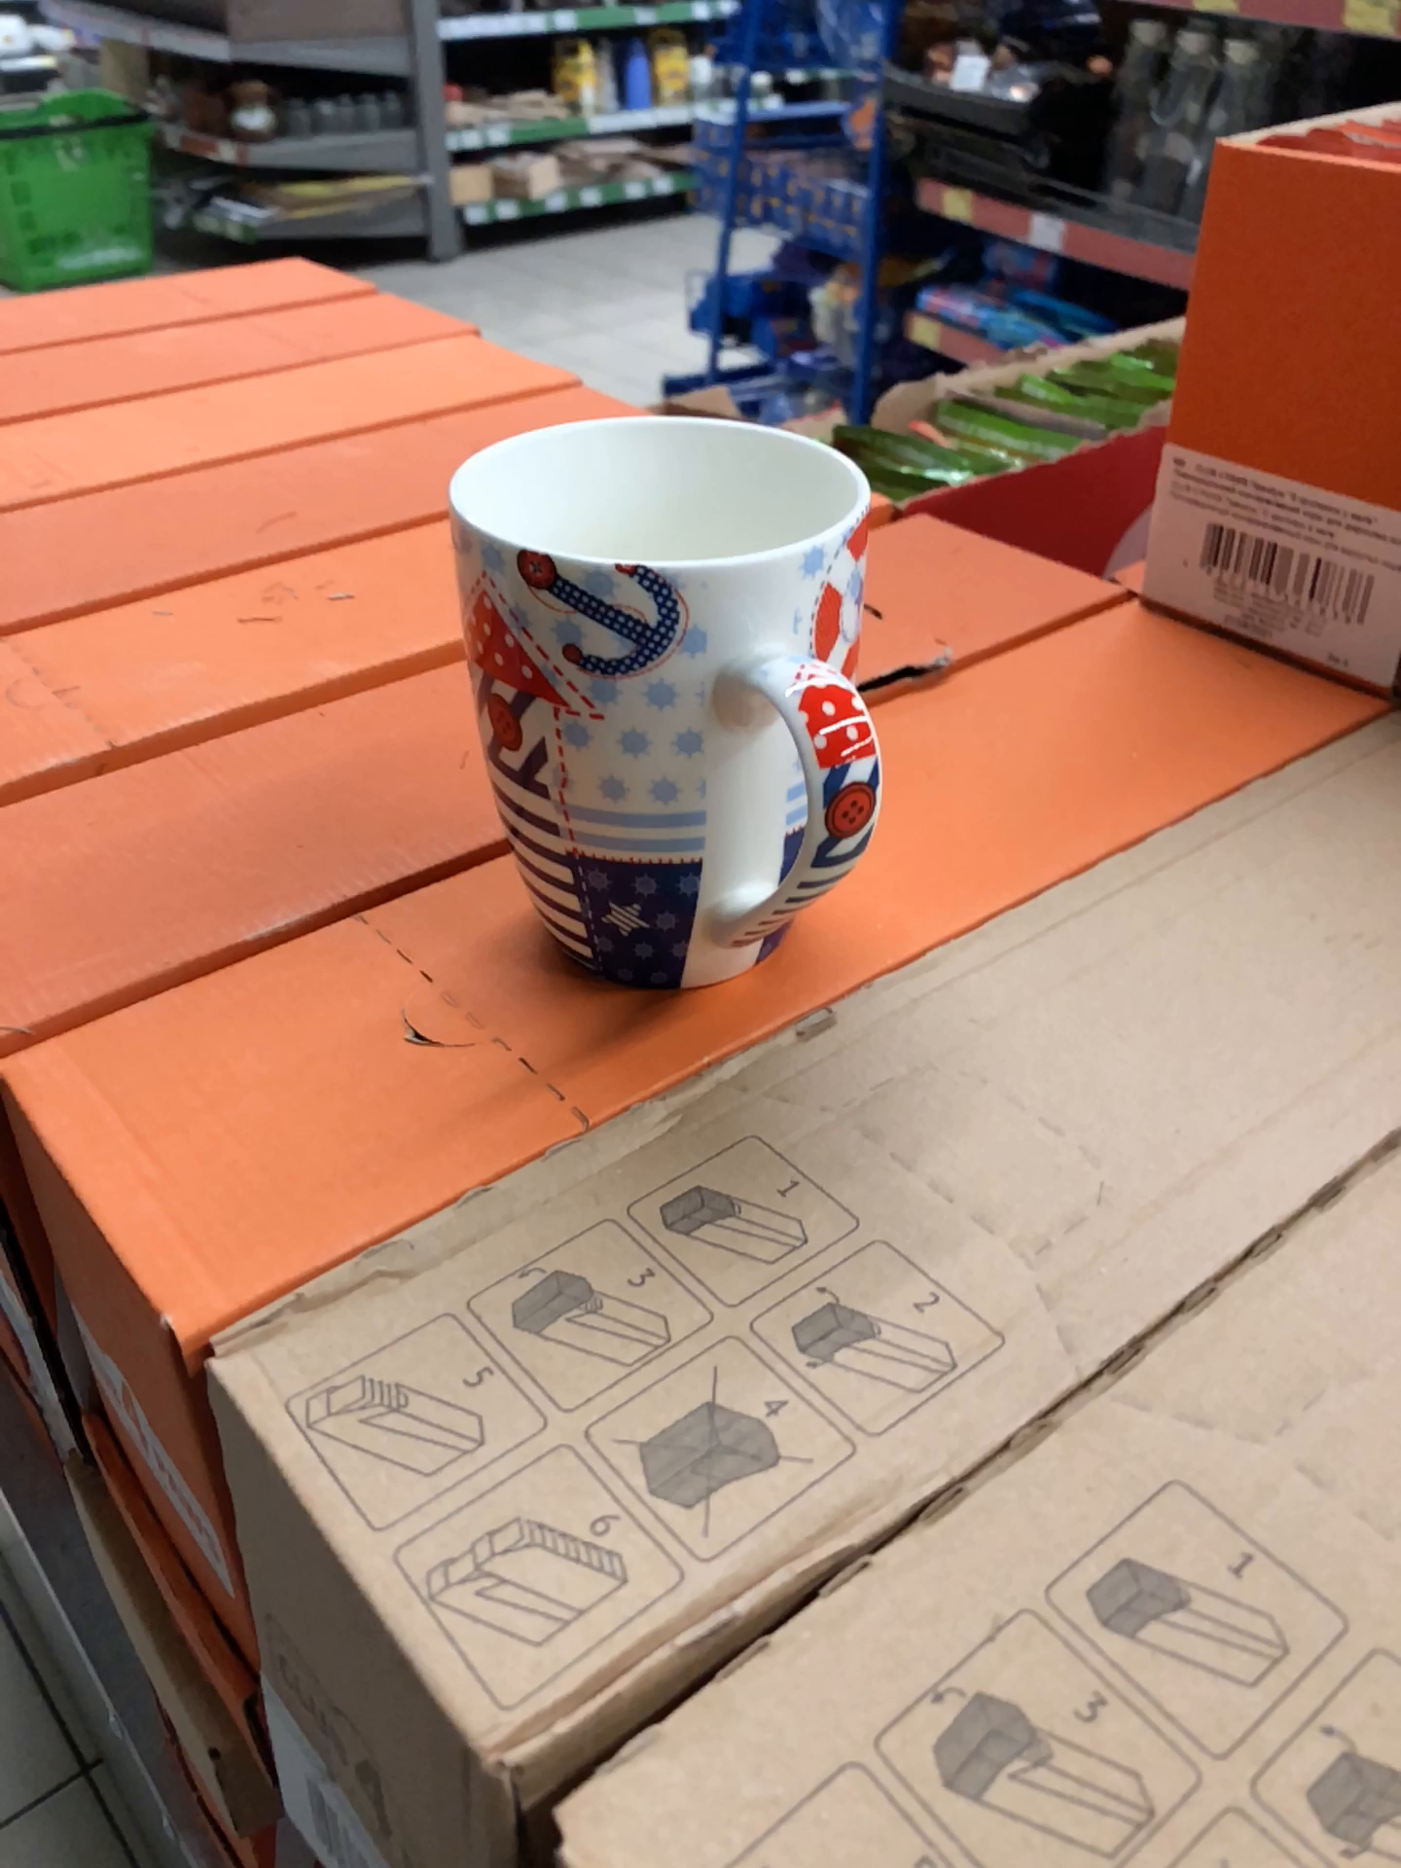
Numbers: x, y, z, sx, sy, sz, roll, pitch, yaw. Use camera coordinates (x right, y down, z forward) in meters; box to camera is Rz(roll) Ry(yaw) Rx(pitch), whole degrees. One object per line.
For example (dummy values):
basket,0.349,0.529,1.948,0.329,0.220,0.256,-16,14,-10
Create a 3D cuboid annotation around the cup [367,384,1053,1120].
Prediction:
cup,-0.004,-0.044,0.314,0.086,0.092,0.113,-16,39,-22
